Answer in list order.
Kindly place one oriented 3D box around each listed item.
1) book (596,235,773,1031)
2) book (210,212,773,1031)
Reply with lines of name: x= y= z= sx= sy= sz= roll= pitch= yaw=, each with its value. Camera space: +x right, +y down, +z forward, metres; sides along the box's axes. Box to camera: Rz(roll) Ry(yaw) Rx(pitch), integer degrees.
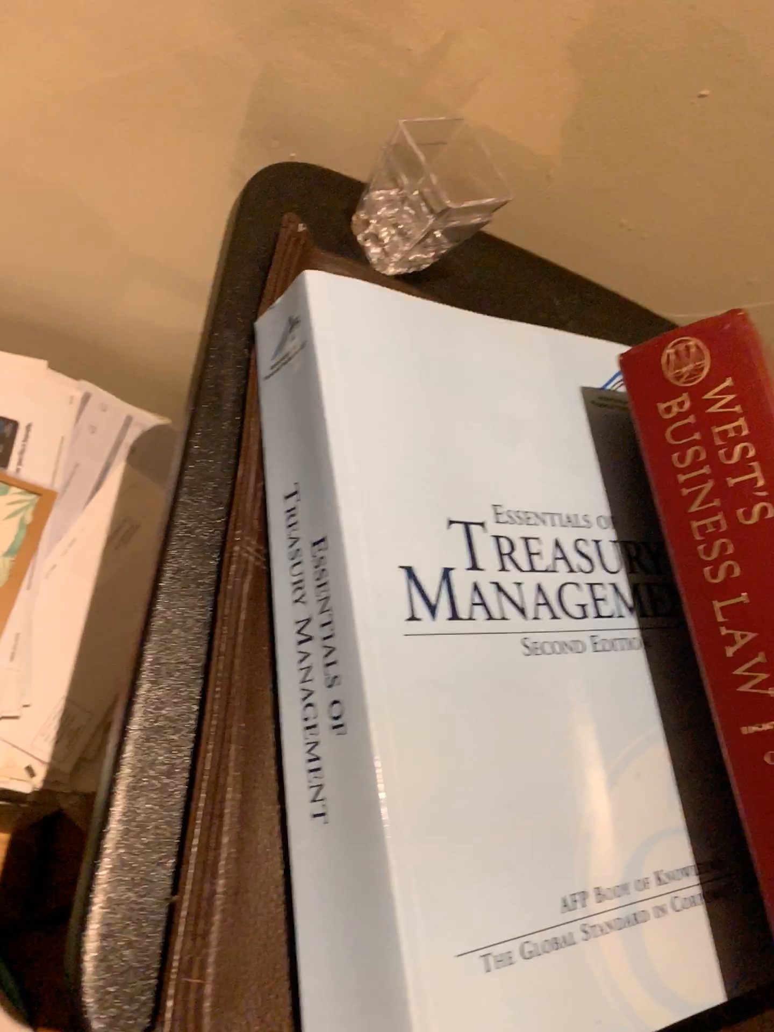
book: x=0.182 y=0.051 z=0.345 sx=0.211 sy=0.050 sz=0.270 roll=22 pitch=53 yaw=-52
book: x=0.057 y=0.046 z=0.300 sx=0.221 sy=0.070 sz=0.270 roll=6 pitch=64 yaw=-30
